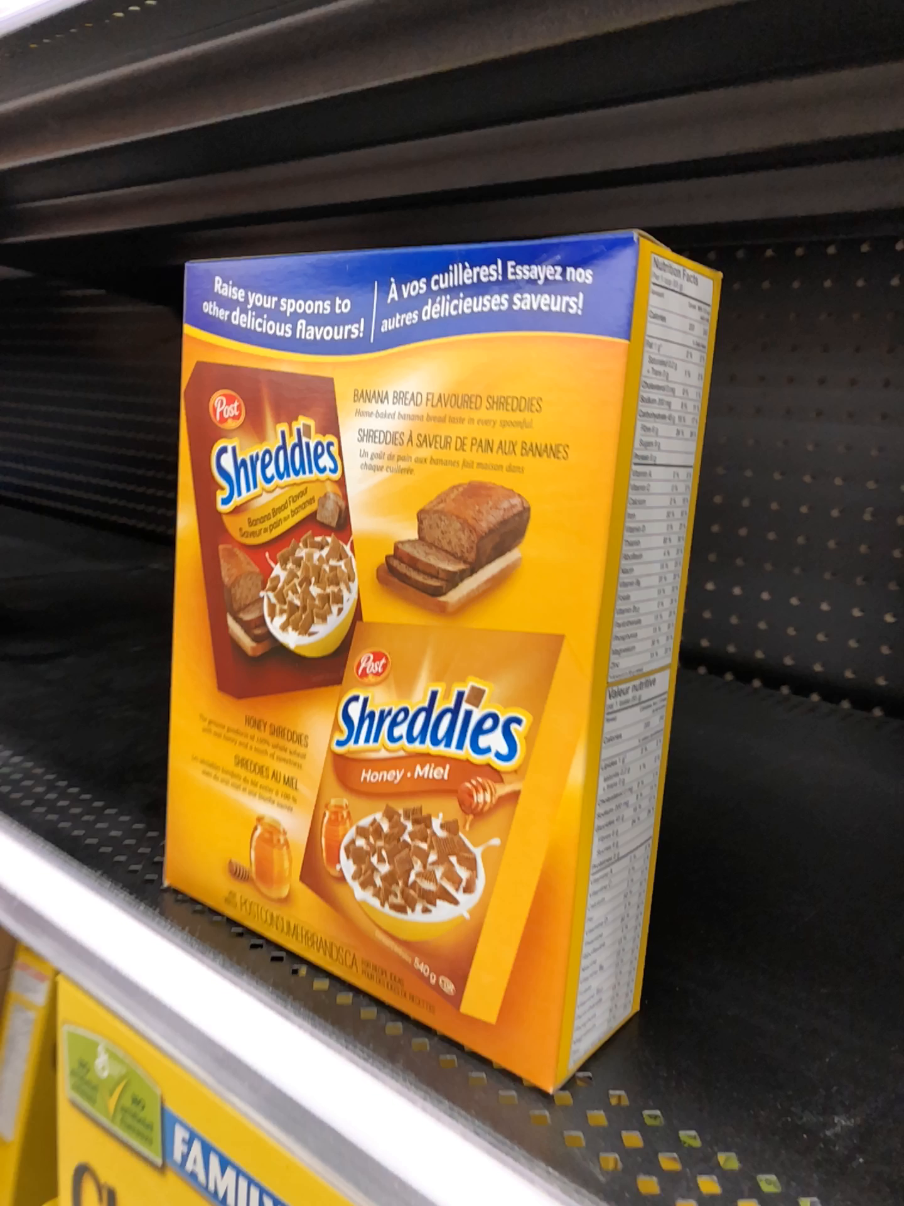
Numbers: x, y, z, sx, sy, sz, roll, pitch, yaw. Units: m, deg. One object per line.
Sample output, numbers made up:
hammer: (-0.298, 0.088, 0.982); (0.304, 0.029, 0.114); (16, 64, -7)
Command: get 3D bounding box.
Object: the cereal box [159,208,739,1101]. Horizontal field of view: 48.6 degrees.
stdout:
cereal box: (-0.019, 0.004, 0.383); (0.210, 0.269, 0.060); (11, 11, 37)
